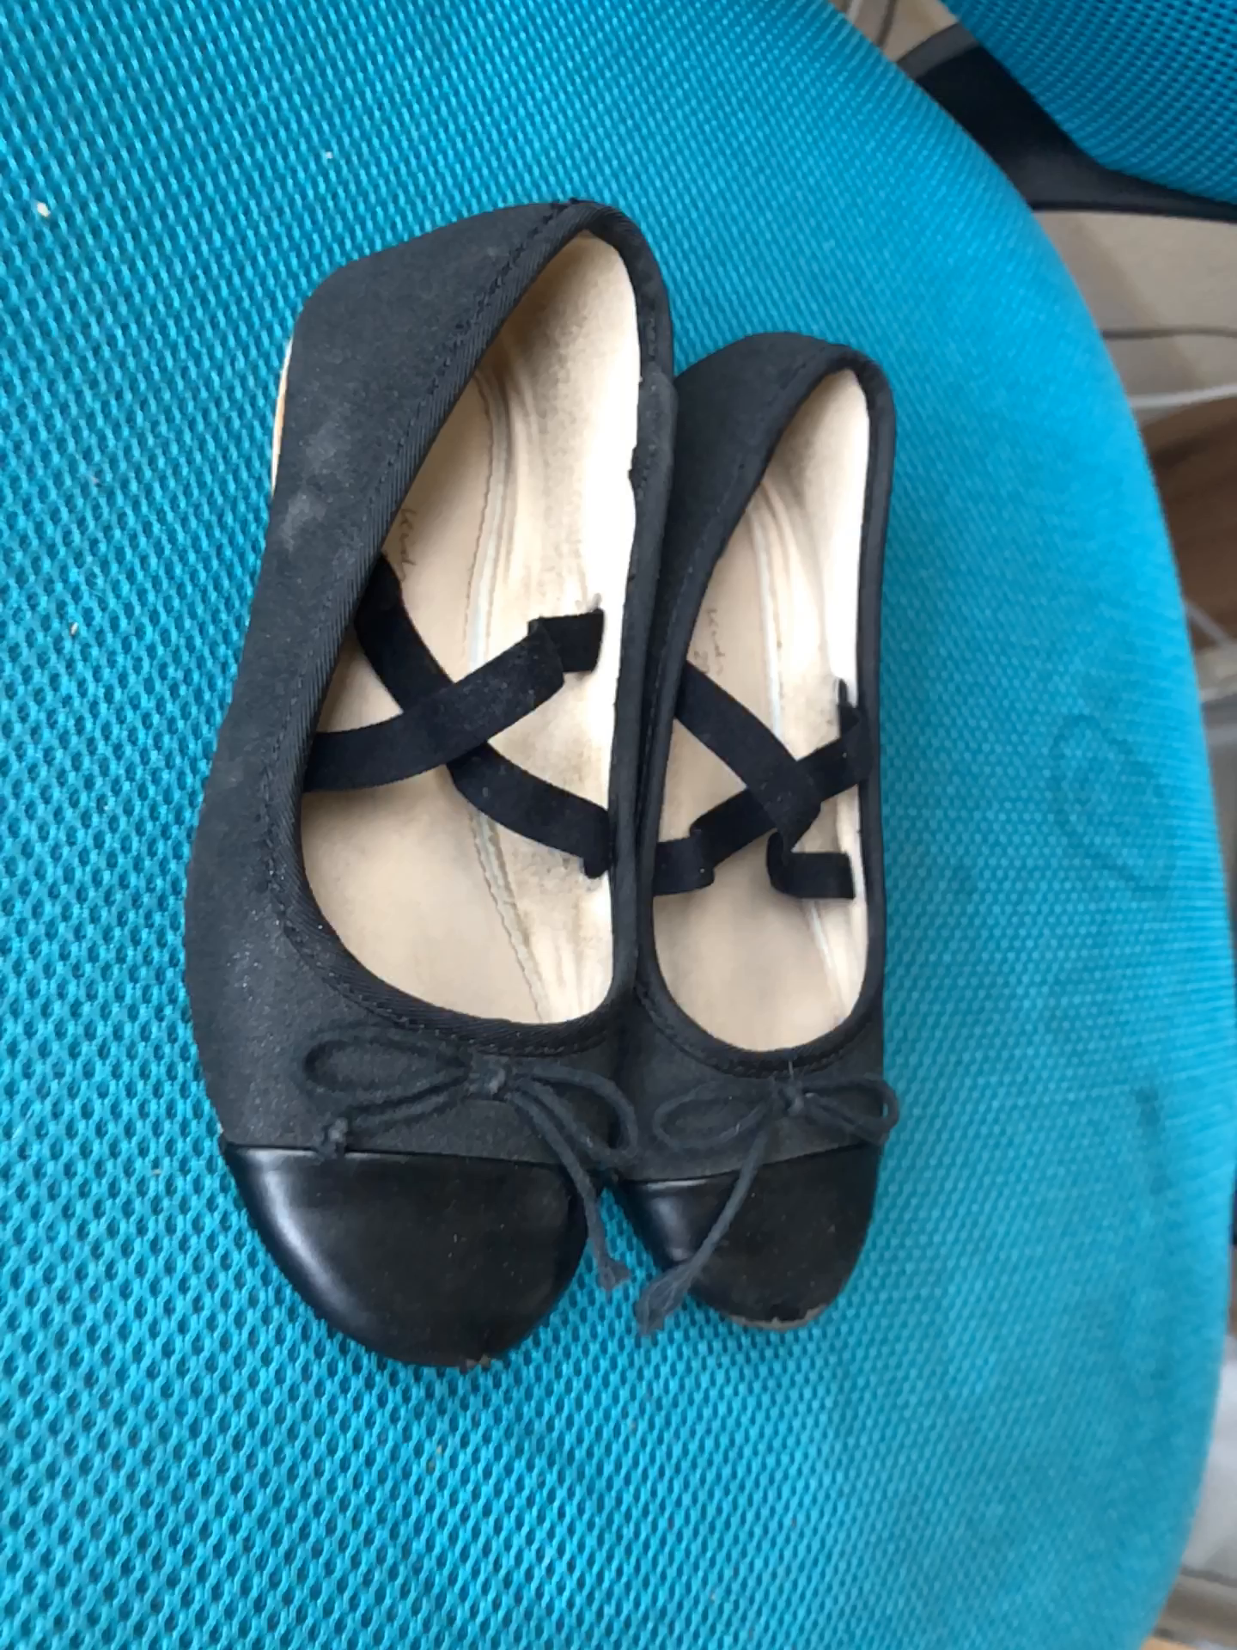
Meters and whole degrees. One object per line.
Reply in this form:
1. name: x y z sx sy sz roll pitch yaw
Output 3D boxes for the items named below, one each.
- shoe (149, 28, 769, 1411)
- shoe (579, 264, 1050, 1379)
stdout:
1. shoe: -0.023 -0.015 0.231 0.081 0.050 0.194 9 76 -39
2. shoe: 0.036 0.000 0.273 0.069 0.050 0.190 7 77 -39
